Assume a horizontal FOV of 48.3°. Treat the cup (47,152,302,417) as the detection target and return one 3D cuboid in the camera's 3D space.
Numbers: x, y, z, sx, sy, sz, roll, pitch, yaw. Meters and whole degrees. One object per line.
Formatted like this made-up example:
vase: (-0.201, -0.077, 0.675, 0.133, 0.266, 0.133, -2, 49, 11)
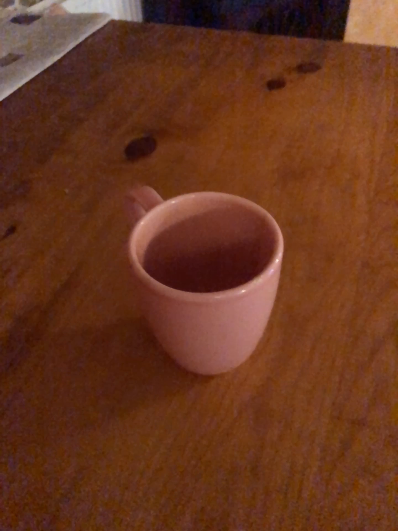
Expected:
cup: (-0.015, 0.007, 0.292, 0.121, 0.095, 0.090, 34, 56, 30)
